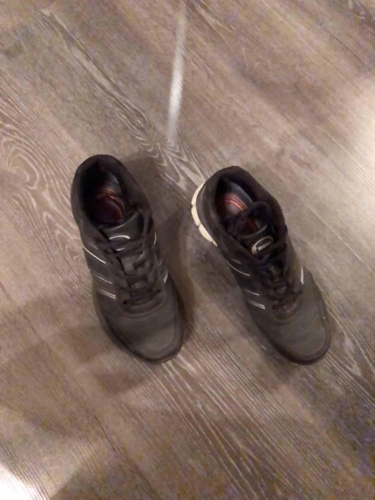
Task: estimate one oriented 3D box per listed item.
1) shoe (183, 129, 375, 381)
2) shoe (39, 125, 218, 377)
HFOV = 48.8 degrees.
[{"bbox_3d":[0.106,0.007,0.493,0.110,0.100,0.260,-28,77,-9],"label":"shoe"},{"bbox_3d":[-0.067,0.002,0.469,0.100,0.090,0.250,-22,76,-8],"label":"shoe"}]
